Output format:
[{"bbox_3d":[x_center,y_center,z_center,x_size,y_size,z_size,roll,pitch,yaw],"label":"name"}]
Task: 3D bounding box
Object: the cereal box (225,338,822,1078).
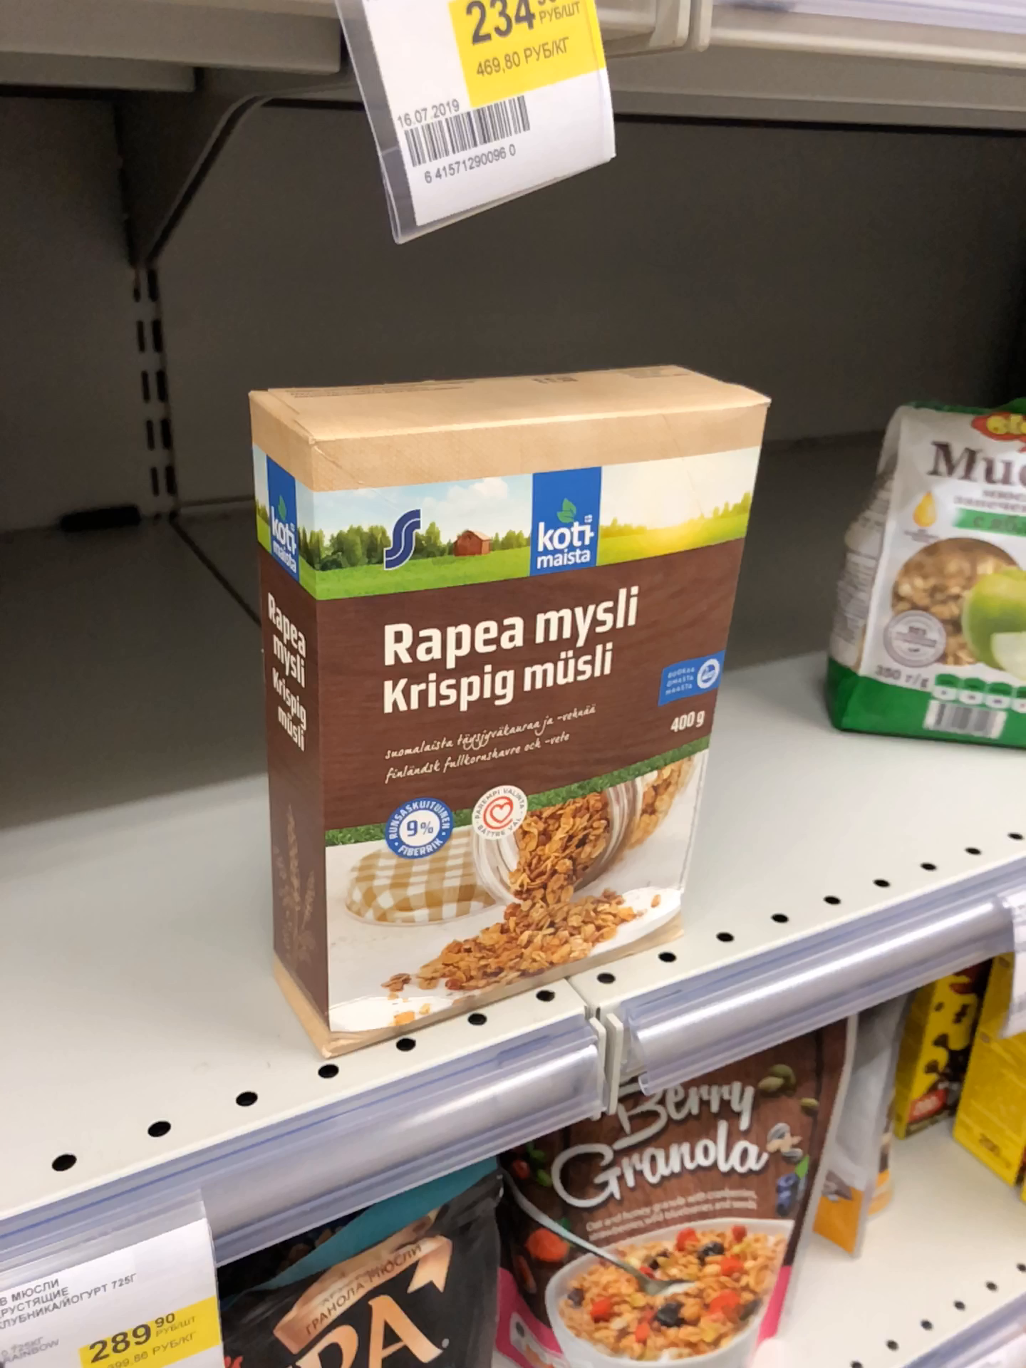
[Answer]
[{"bbox_3d":[0.002,0.003,0.337,0.150,0.189,0.050,-12,30,-28],"label":"cereal box"}]
